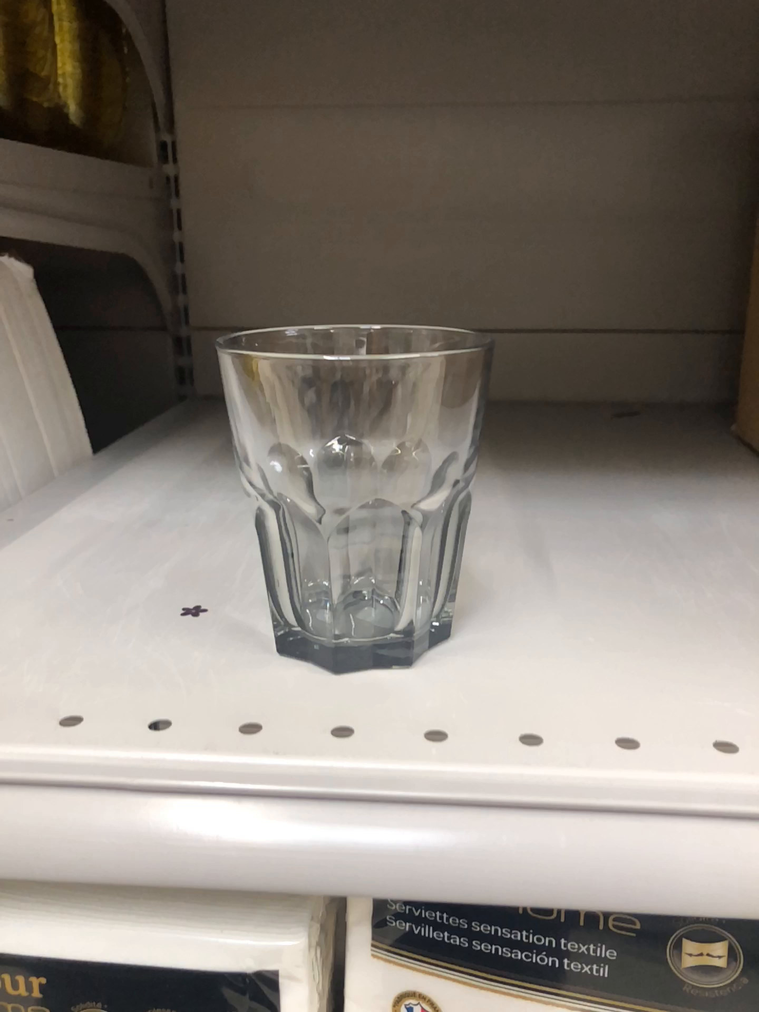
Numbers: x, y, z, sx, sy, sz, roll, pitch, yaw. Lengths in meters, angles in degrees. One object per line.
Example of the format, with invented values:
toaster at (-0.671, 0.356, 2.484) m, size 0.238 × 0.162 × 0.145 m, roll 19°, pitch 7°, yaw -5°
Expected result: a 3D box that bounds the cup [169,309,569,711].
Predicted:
cup at (0.000, -0.009, 0.259) m, size 0.085 × 0.092 × 0.083 m, roll 0°, pitch 17°, yaw 0°
